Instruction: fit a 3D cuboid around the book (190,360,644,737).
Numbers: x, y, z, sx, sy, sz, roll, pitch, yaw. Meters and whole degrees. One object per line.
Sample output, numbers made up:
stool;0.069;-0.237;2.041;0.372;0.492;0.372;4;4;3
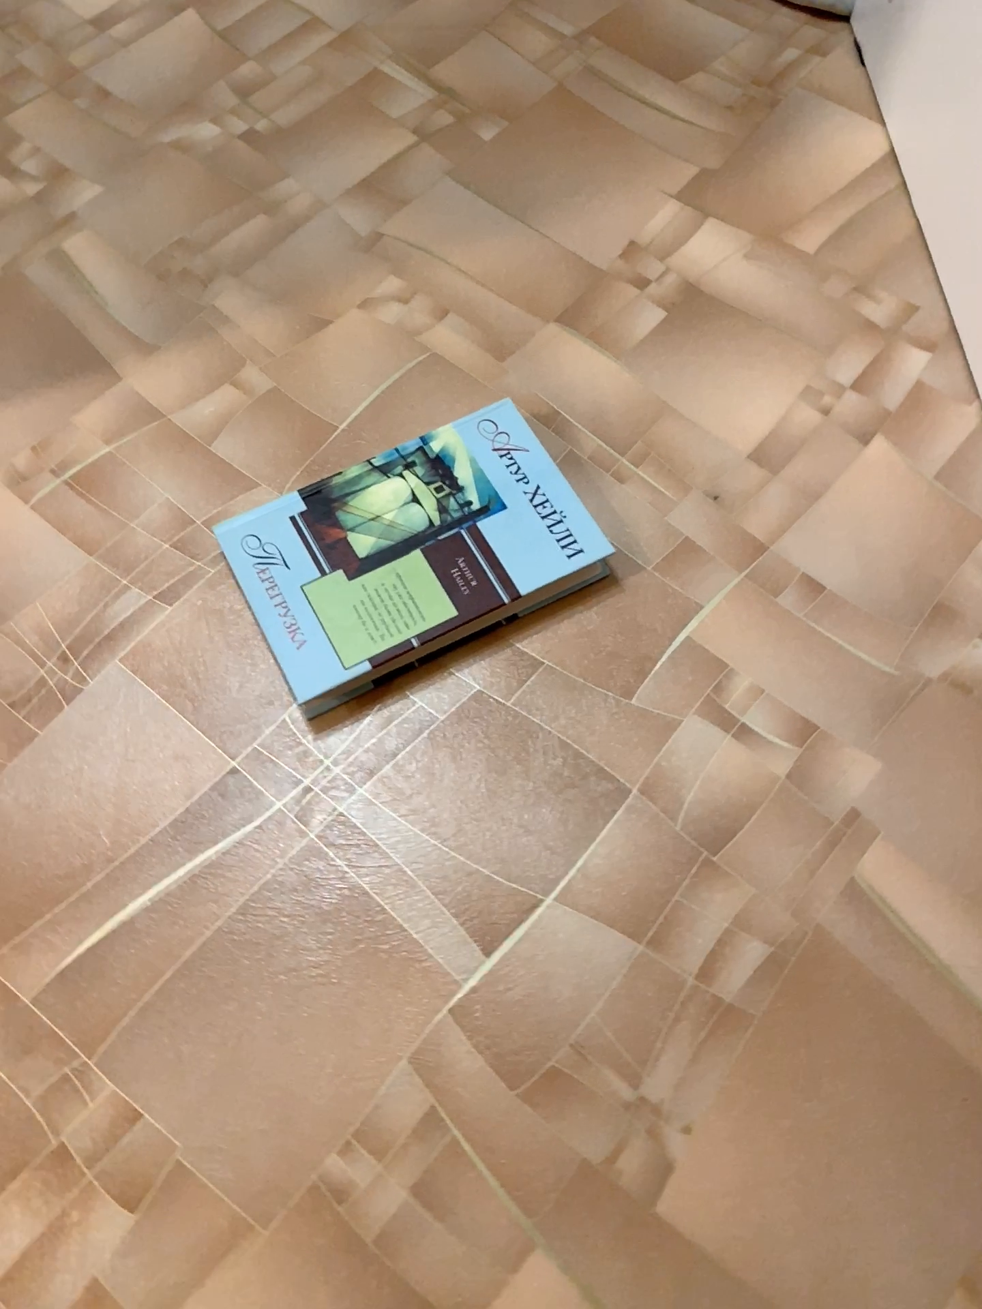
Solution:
book;-0.043;-0.068;0.580;0.210;0.040;0.151;-26;65;-12
